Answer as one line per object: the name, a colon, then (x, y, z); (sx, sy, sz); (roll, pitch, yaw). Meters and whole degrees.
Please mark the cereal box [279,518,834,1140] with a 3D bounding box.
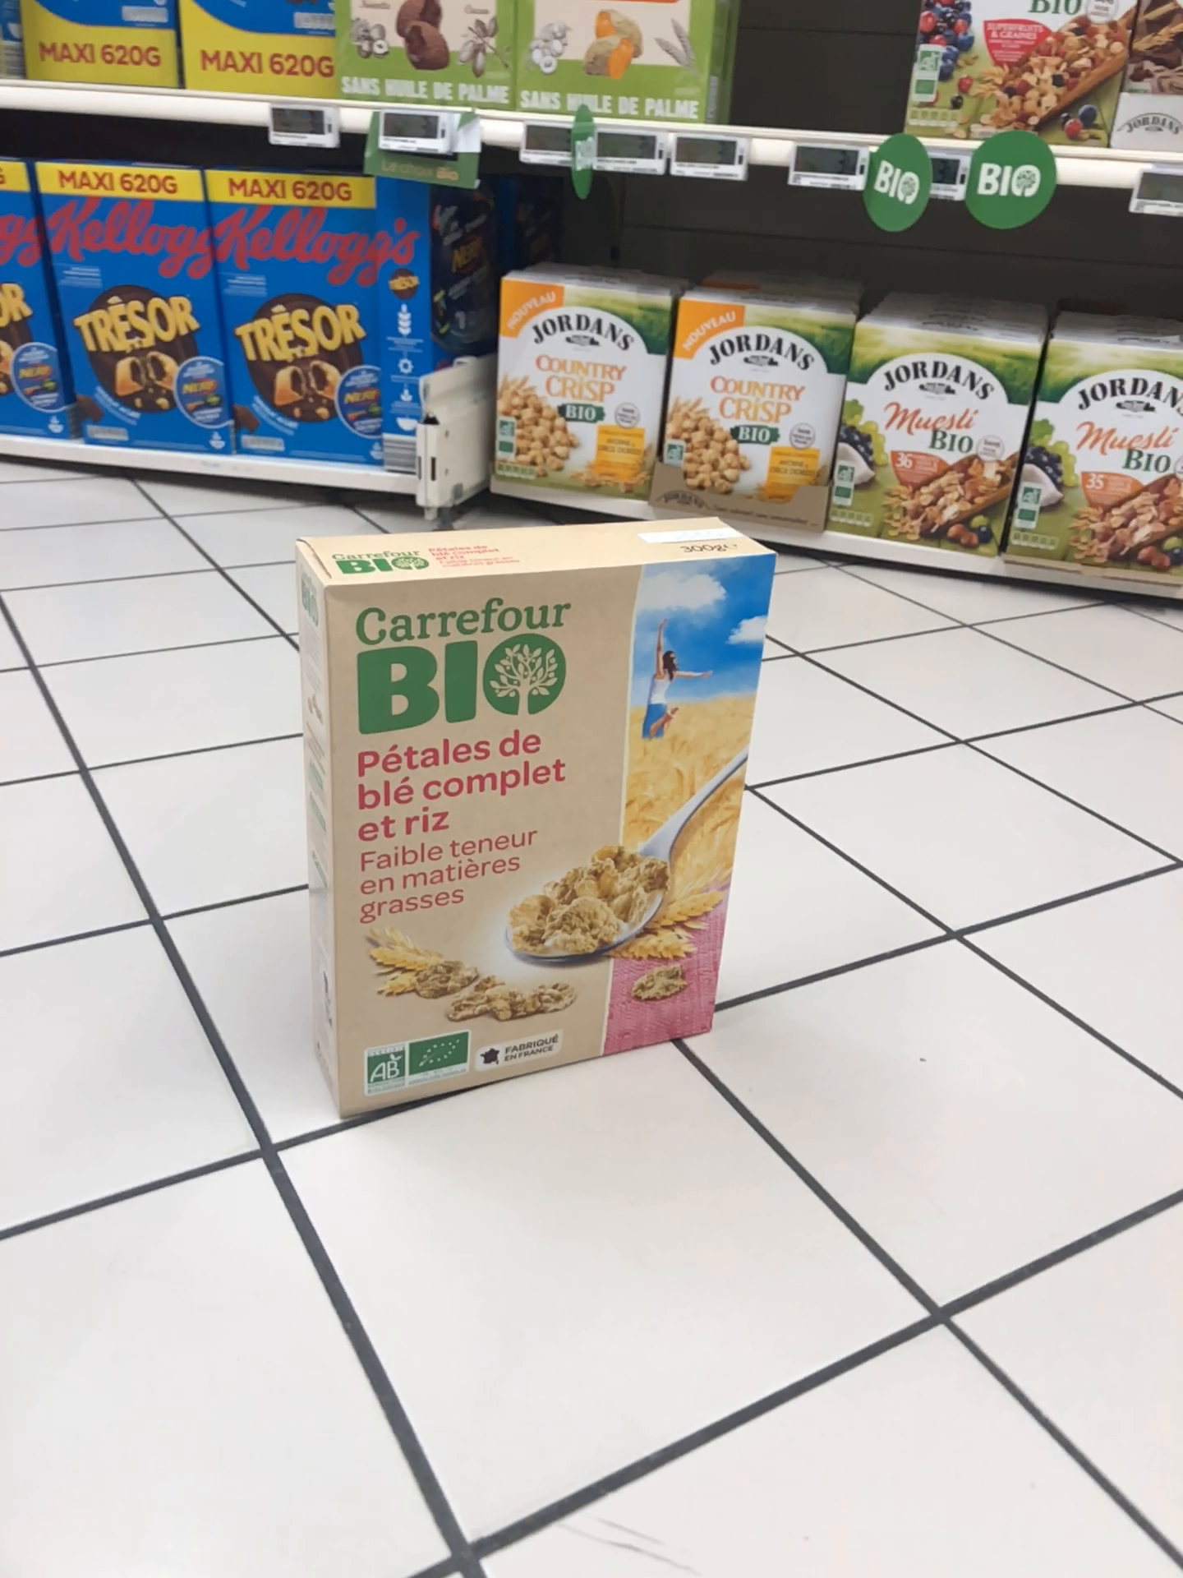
cereal box: (-0.020, 0.013, 0.576); (0.211, 0.239, 0.080); (-7, 28, -22)
